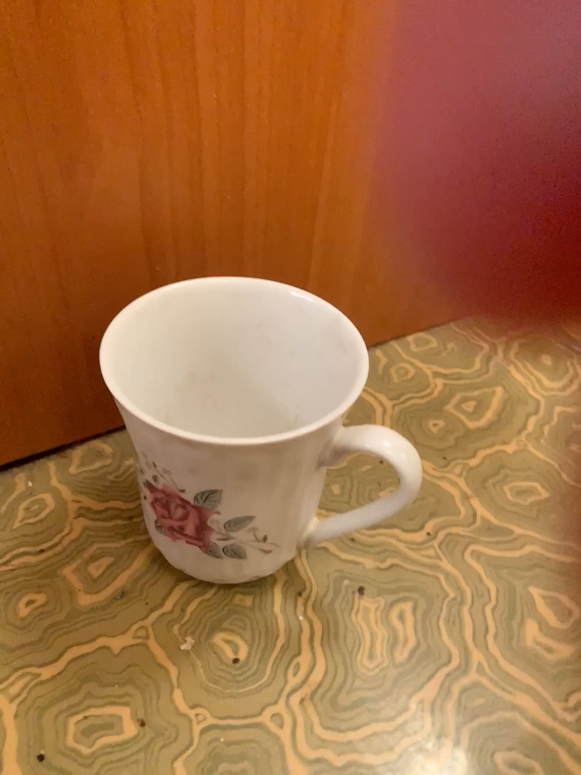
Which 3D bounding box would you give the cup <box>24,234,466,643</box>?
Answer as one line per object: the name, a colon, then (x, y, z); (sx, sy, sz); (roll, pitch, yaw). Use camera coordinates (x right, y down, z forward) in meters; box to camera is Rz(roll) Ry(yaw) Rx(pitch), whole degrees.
cup: (-0.009, 0.014, 0.220); (0.118, 0.086, 0.087); (14, 41, 9)
